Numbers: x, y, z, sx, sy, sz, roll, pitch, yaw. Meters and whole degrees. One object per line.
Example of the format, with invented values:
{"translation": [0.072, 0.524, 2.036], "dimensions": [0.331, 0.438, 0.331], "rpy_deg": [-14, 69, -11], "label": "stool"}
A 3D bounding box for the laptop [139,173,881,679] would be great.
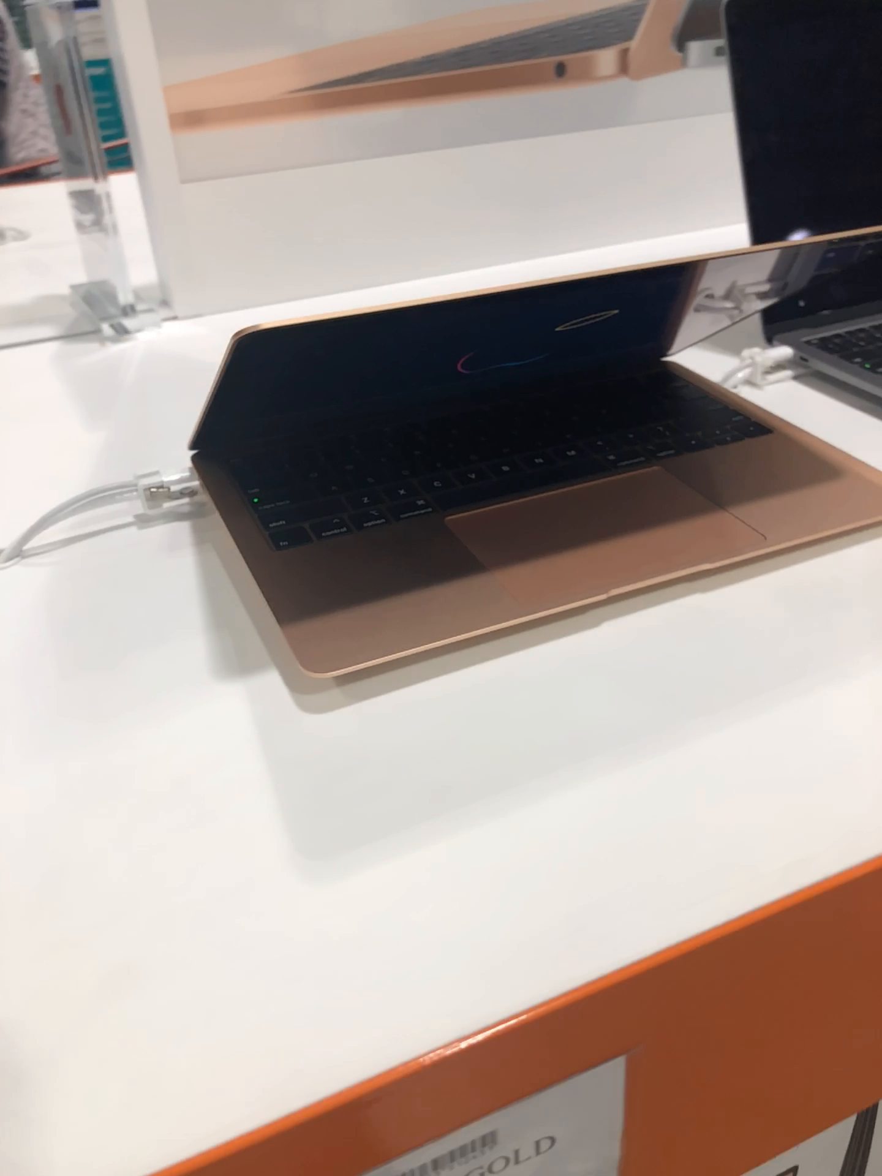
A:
{"translation": [0.040, -0.100, 0.448], "dimensions": [0.295, 0.106, 0.200], "rpy_deg": [-16, 35, -19], "label": "laptop"}
